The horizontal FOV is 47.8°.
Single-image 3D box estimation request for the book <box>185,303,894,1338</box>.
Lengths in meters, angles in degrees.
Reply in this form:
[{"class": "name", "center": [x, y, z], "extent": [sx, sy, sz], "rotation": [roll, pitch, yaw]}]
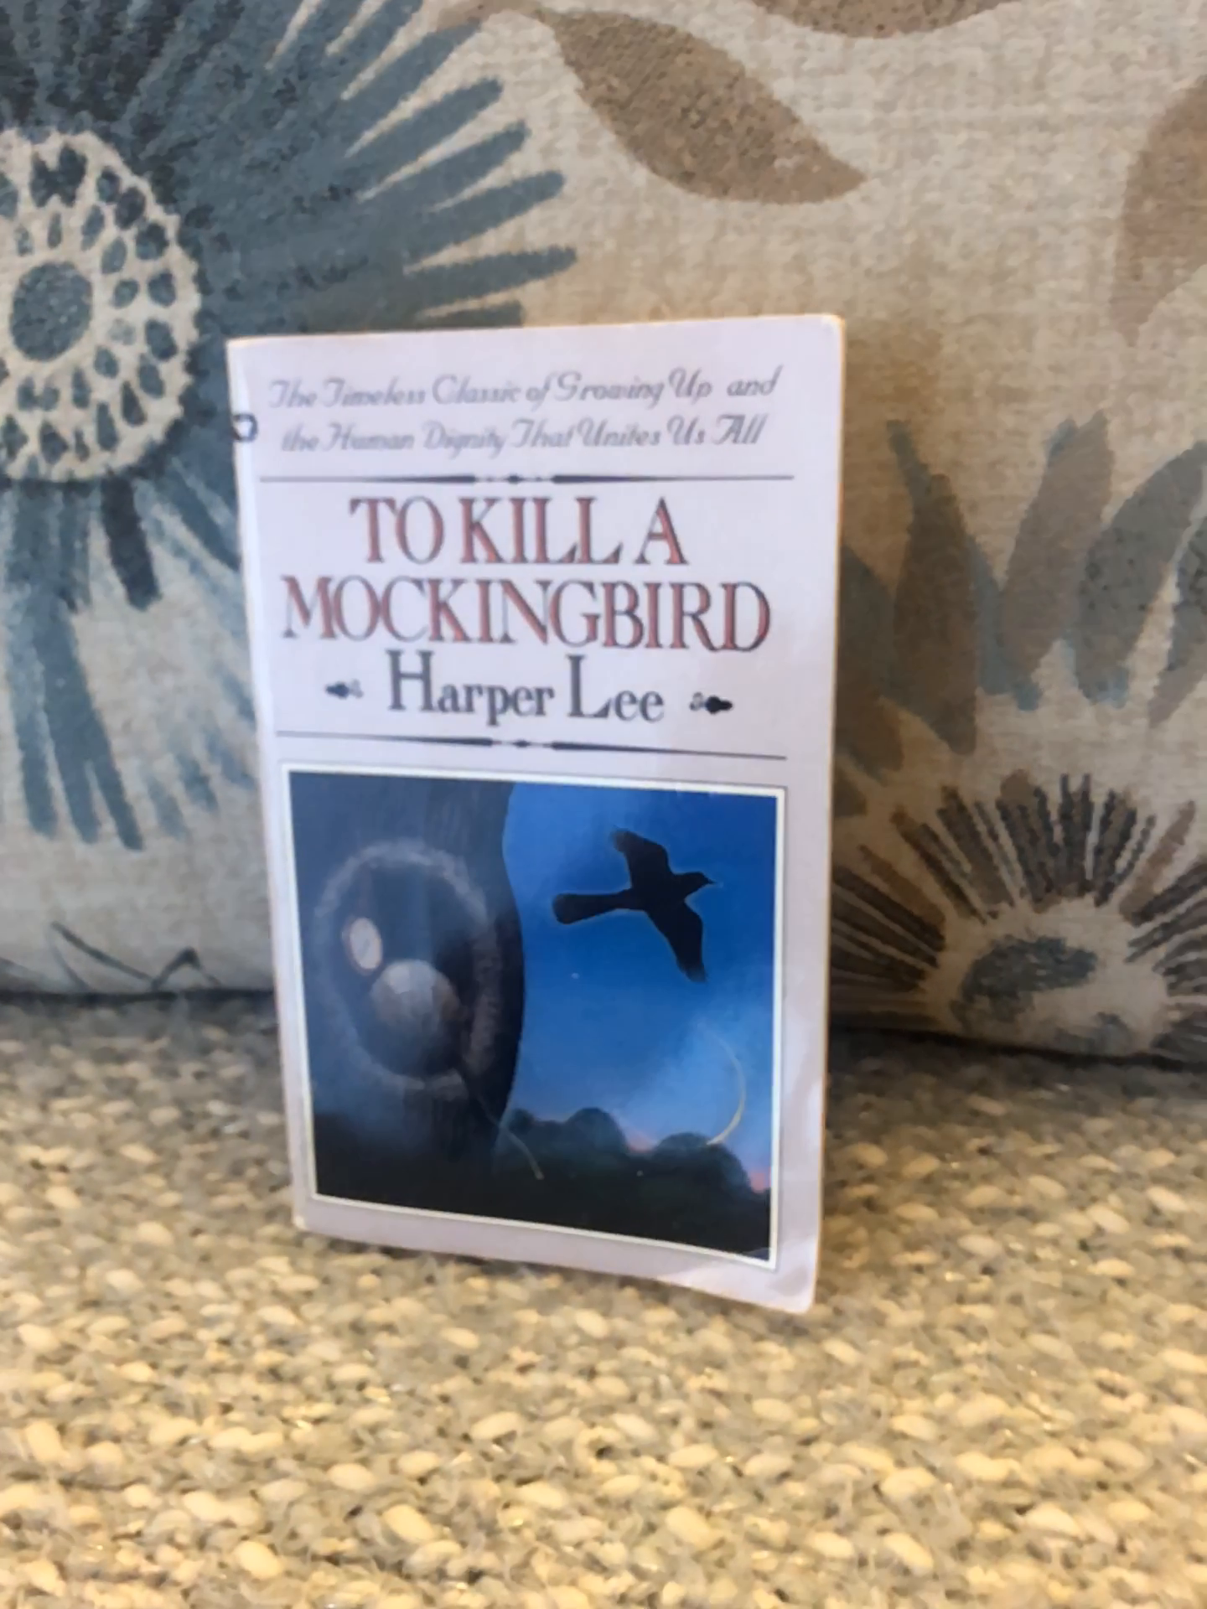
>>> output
[{"class": "book", "center": [-0.010, 0.002, 0.243], "extent": [0.112, 0.166, 0.033], "rotation": [4, 14, 17]}]
